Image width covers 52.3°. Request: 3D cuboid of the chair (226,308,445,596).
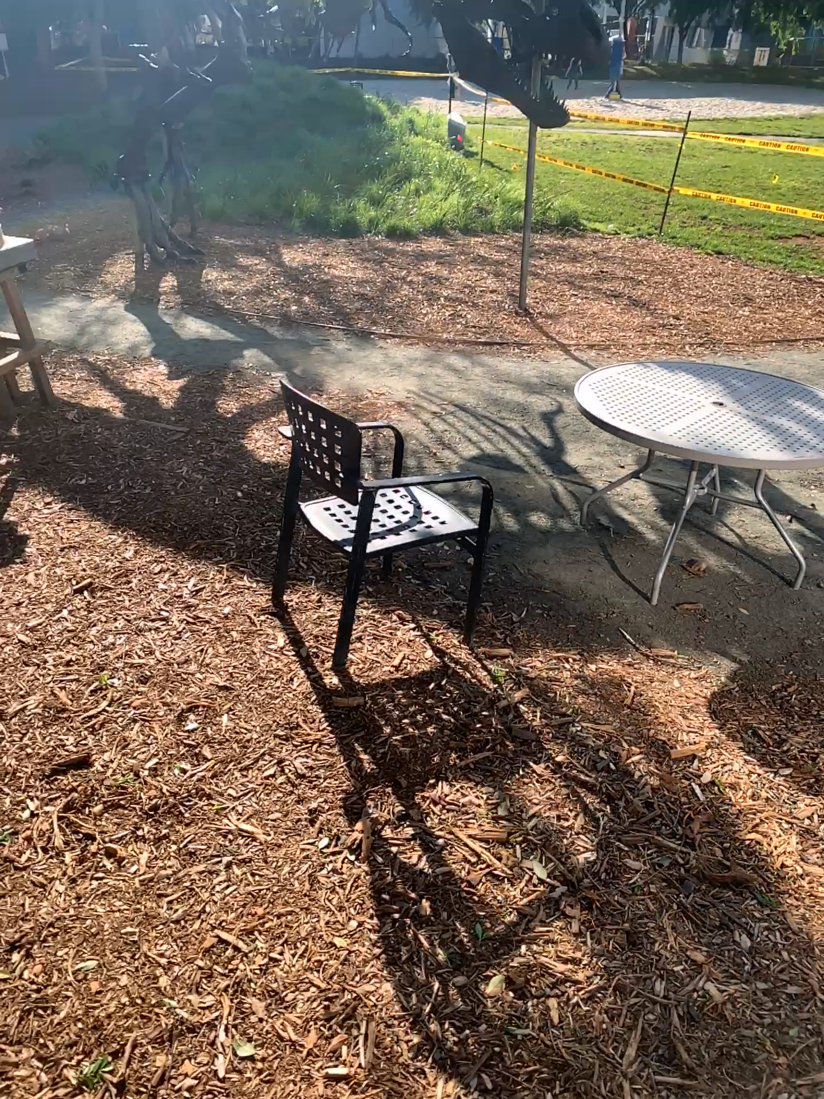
[{"bbox_3d":[-0.249,-0.341,2.765,0.501,0.716,0.523,-16,35,-25],"label":"chair"}]
